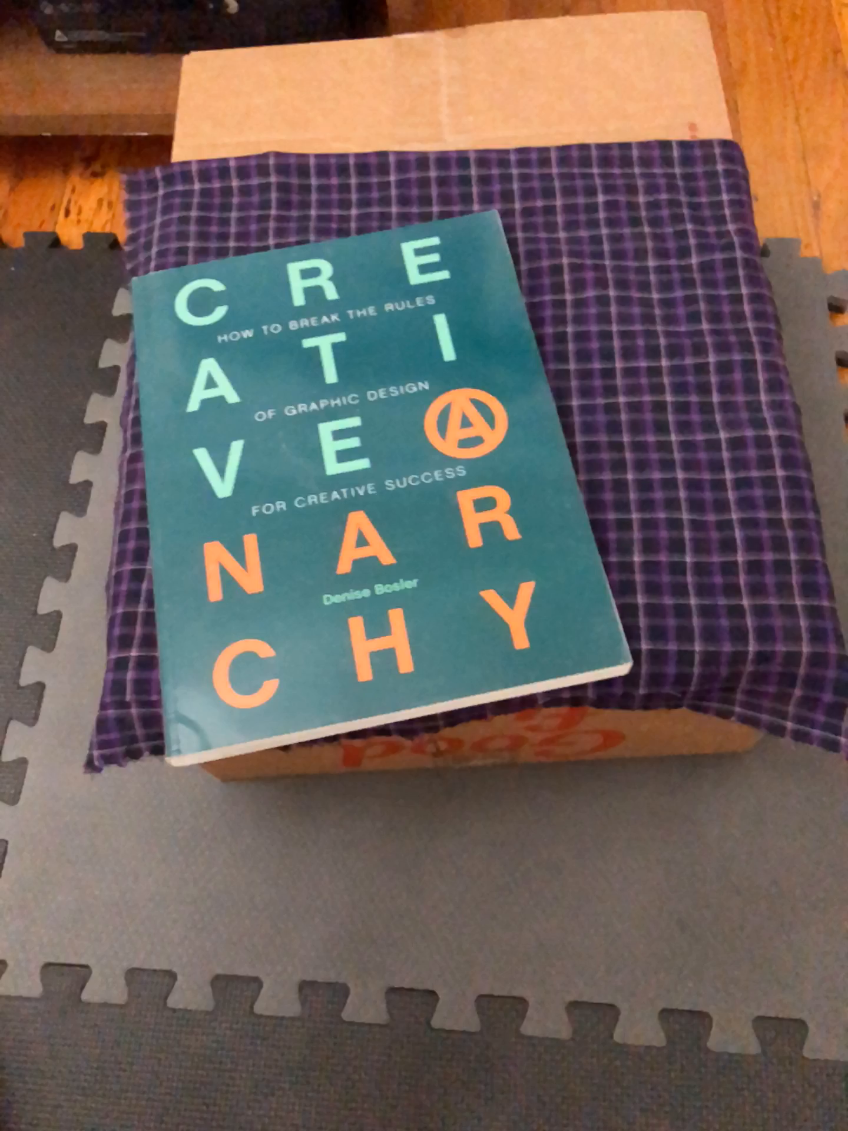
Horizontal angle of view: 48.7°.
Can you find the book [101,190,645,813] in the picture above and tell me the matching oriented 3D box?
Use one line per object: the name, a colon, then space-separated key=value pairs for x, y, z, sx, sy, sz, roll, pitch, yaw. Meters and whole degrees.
book: x=-0.042 y=-0.051 z=0.468 sx=0.220 sy=0.020 sz=0.301 roll=-12 pitch=65 yaw=-1
